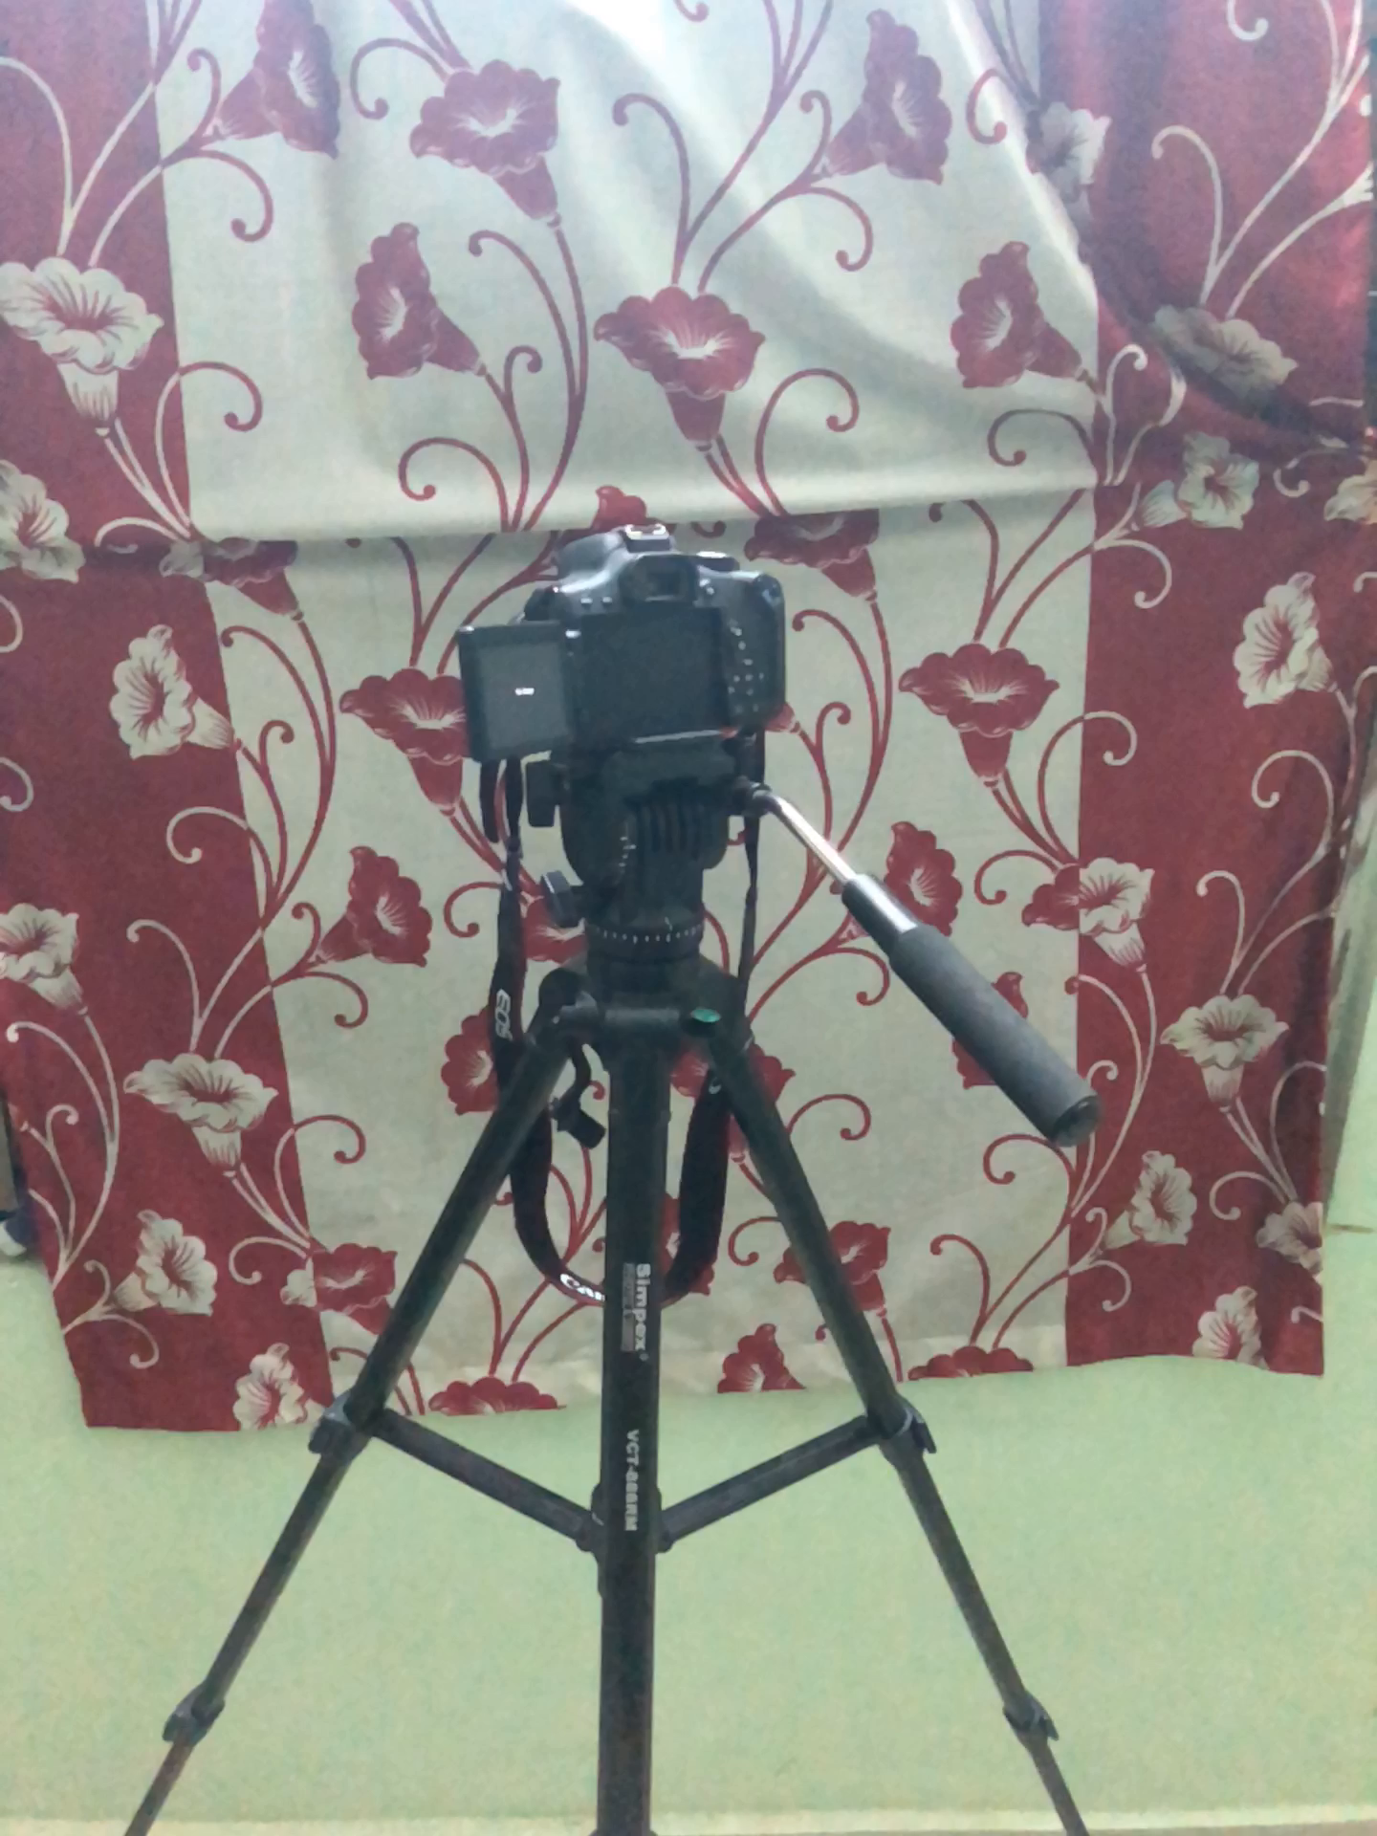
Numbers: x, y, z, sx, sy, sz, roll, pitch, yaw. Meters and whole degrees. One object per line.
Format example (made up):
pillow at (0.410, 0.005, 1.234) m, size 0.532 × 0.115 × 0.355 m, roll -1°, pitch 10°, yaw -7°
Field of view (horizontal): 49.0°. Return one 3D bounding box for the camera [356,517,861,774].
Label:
camera at (-0.042, -0.141, 0.737) m, size 0.200 × 0.087 × 0.141 m, roll -9°, pitch 24°, yaw -27°
